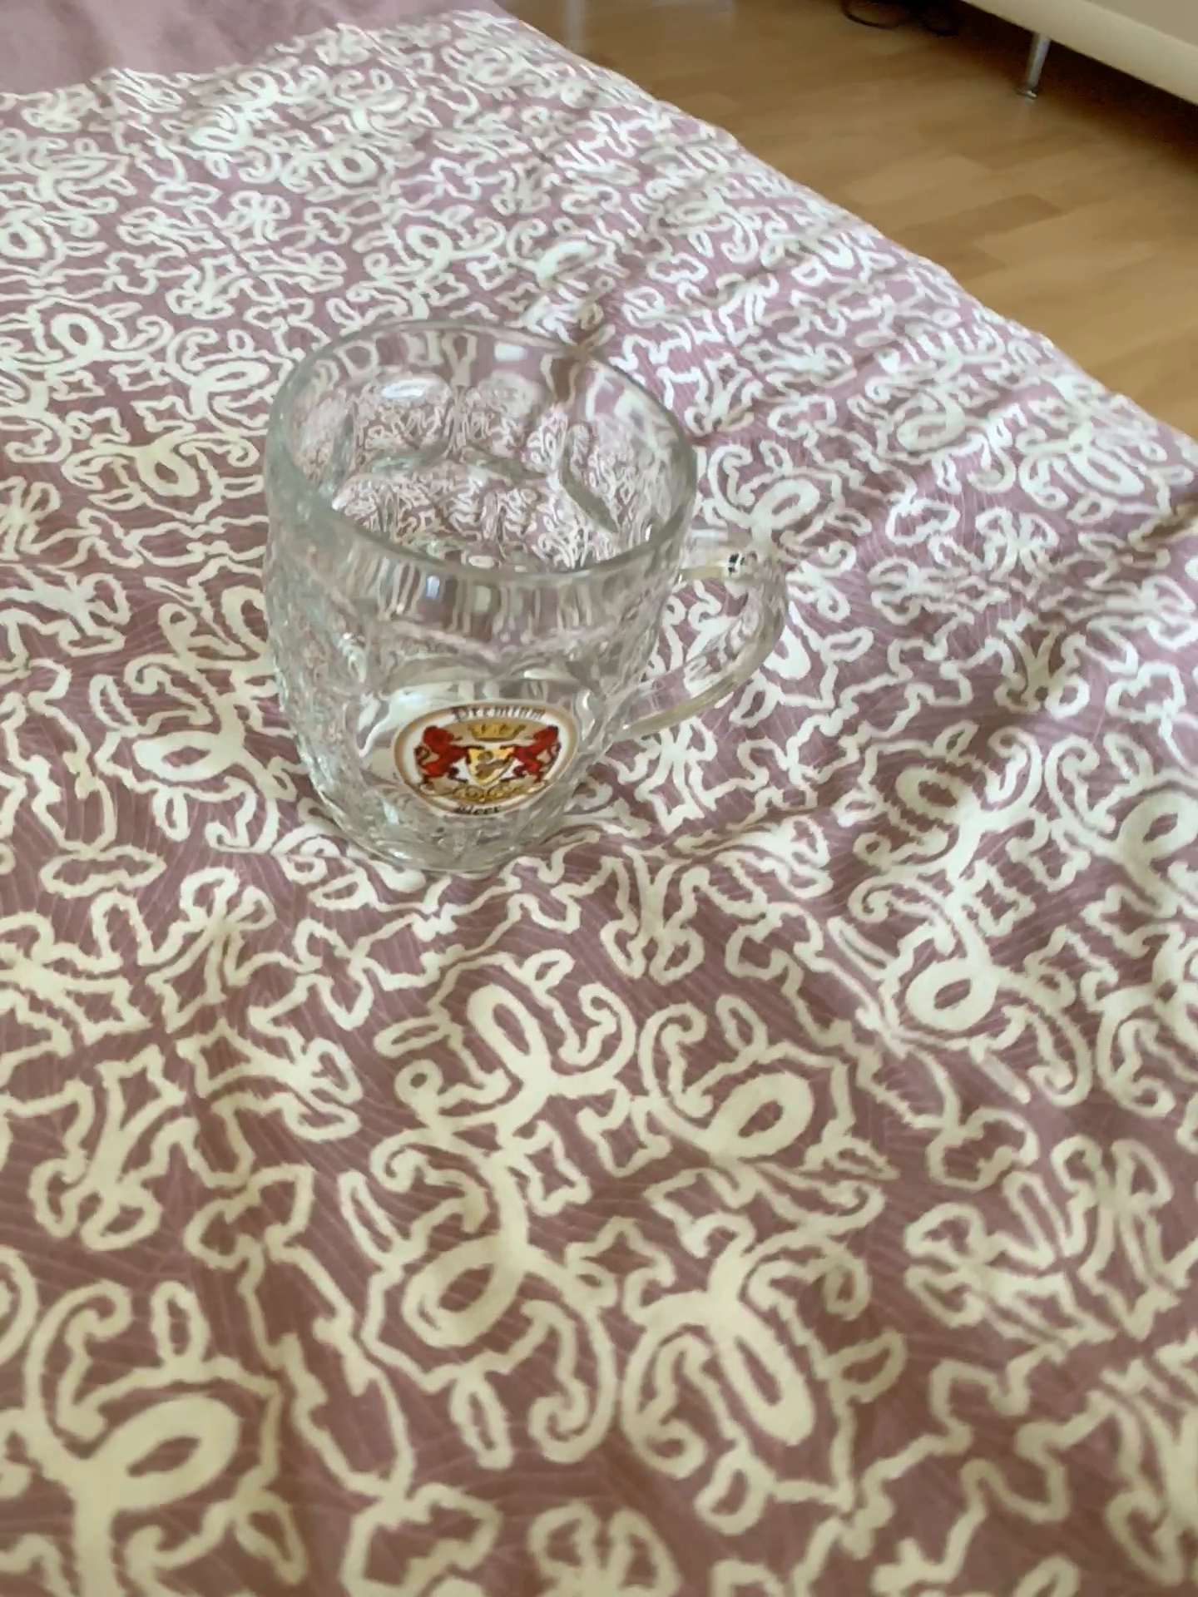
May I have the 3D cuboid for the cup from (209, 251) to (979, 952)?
[{"bbox_3d":[-0.008,-0.044,0.280,0.130,0.109,0.091,-10,54,-12],"label":"cup"}]
